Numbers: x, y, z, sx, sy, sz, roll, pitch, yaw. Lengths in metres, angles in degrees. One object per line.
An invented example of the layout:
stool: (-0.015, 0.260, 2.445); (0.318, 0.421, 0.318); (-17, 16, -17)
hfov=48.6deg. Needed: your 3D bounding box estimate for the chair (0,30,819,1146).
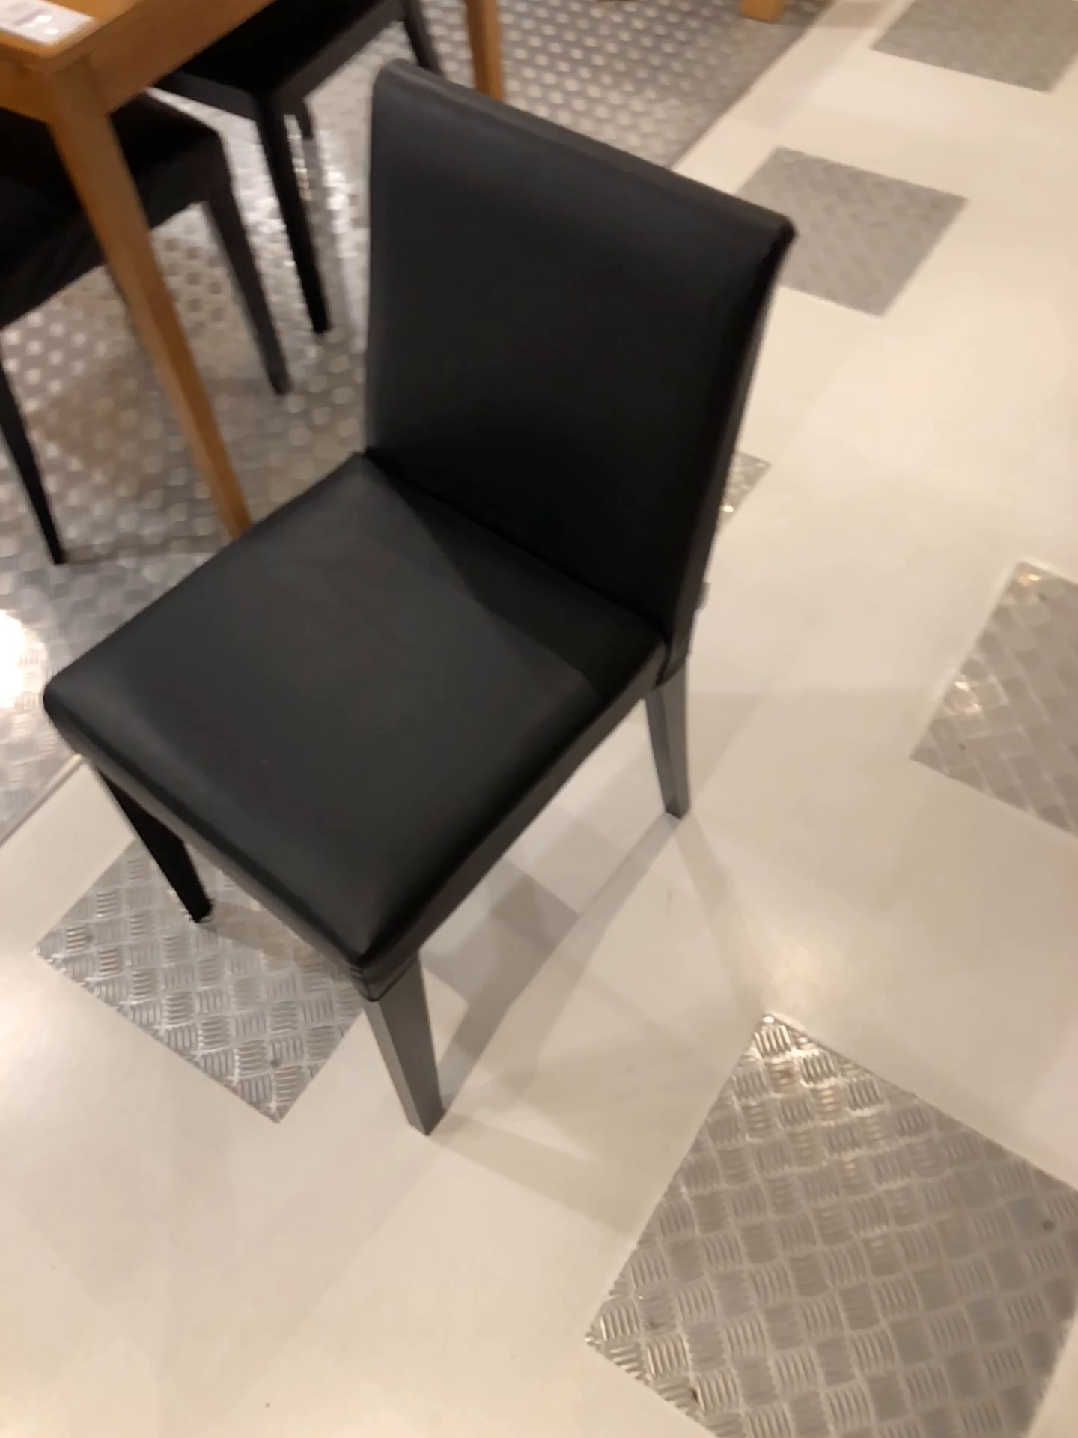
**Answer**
chair: (-0.137, -0.063, 1.168); (0.471, 0.826, 0.552); (35, 65, 24)
